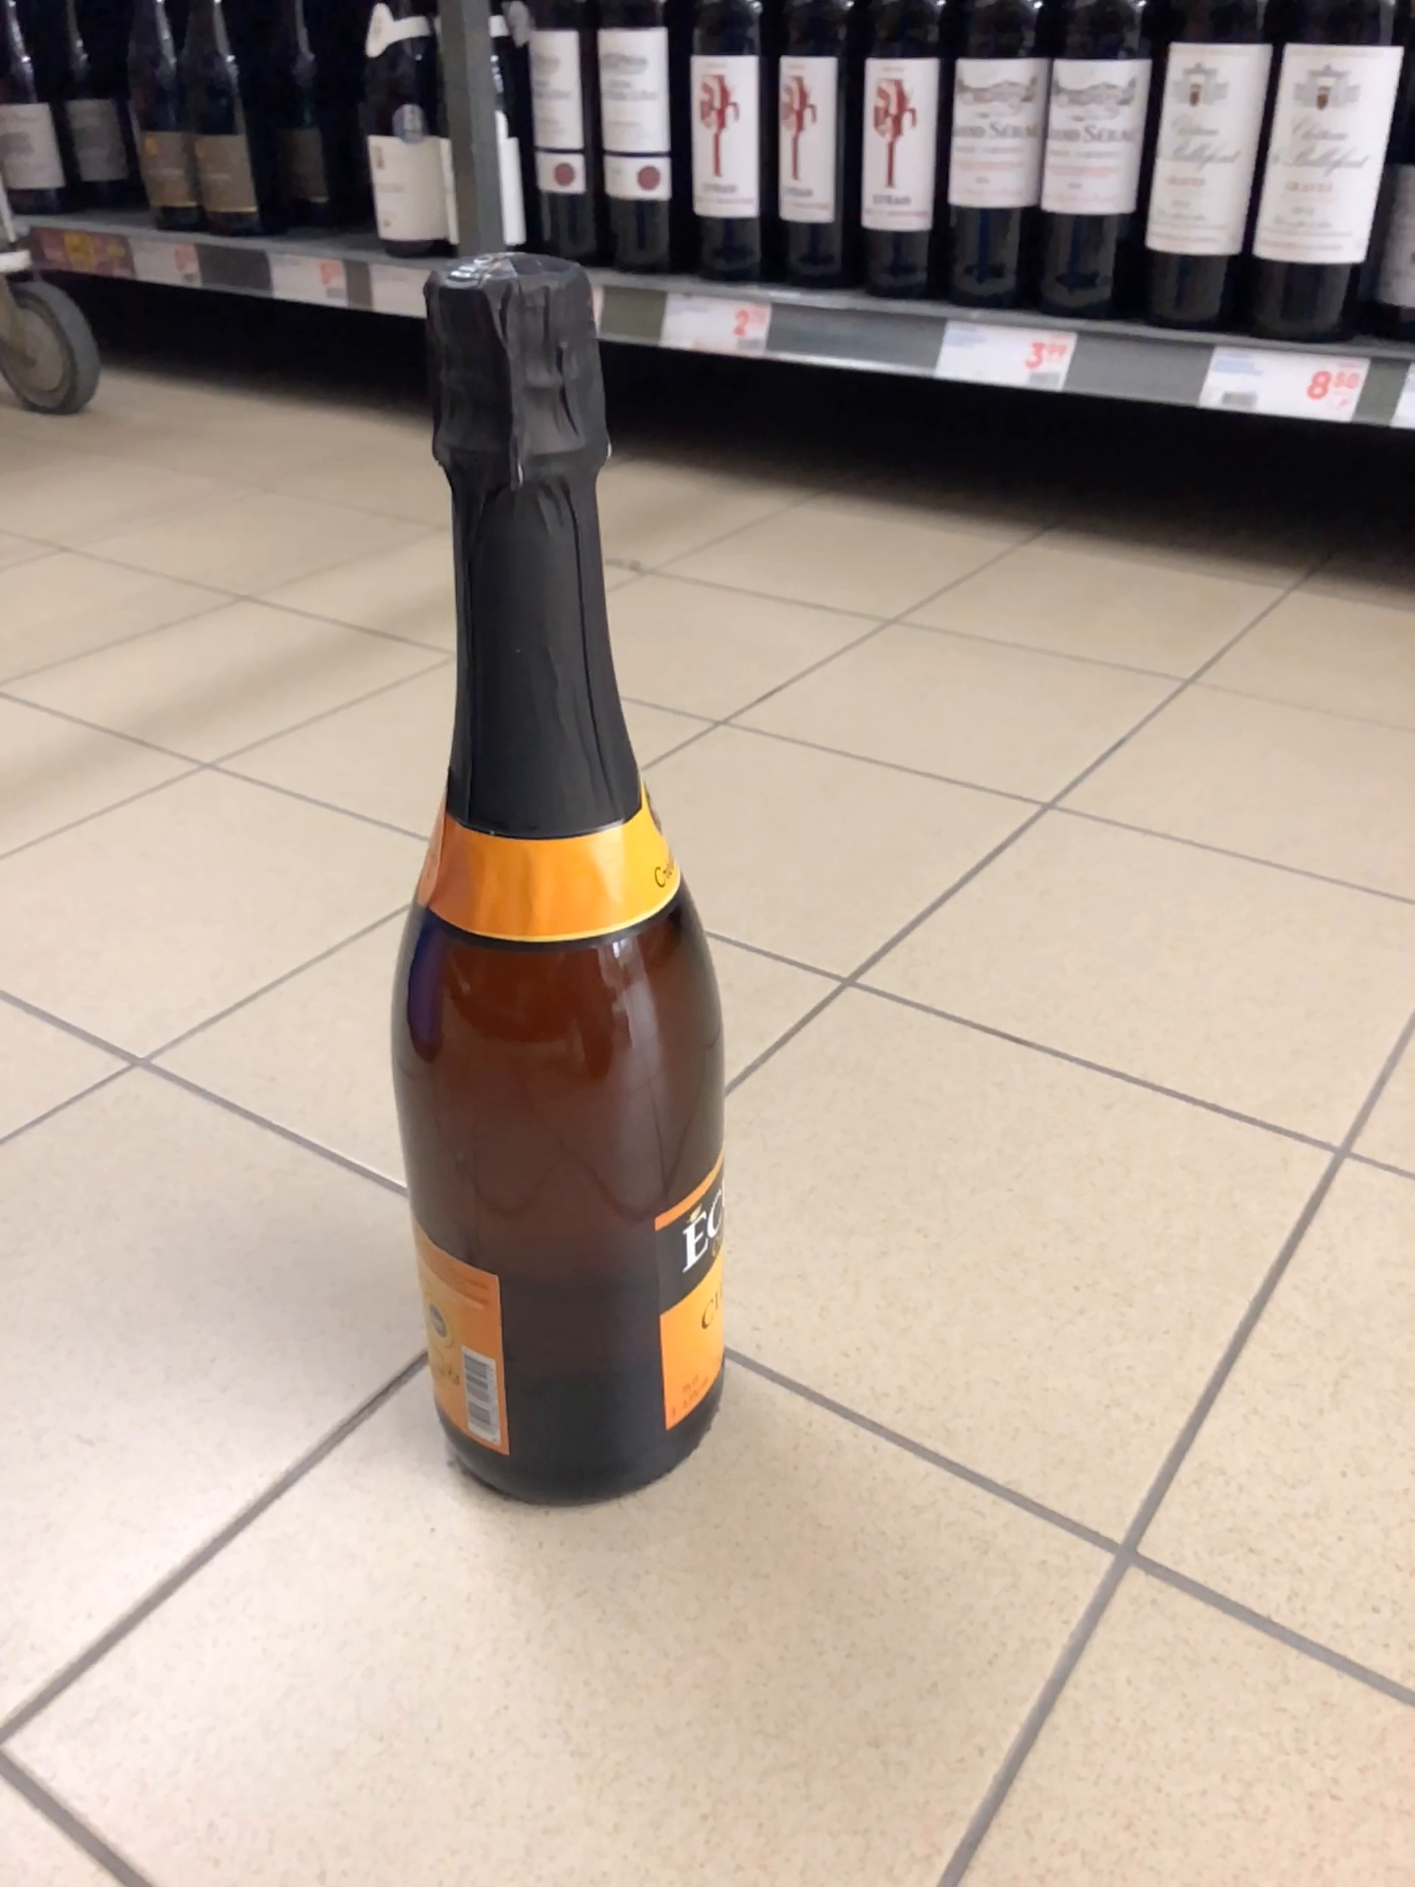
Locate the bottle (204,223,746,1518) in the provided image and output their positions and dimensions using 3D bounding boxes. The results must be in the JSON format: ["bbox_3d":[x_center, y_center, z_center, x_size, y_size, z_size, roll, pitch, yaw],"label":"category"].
[{"bbox_3d":[-0.039,-0.004,0.373,0.090,0.298,0.091,0,30,0],"label":"bottle"}]
